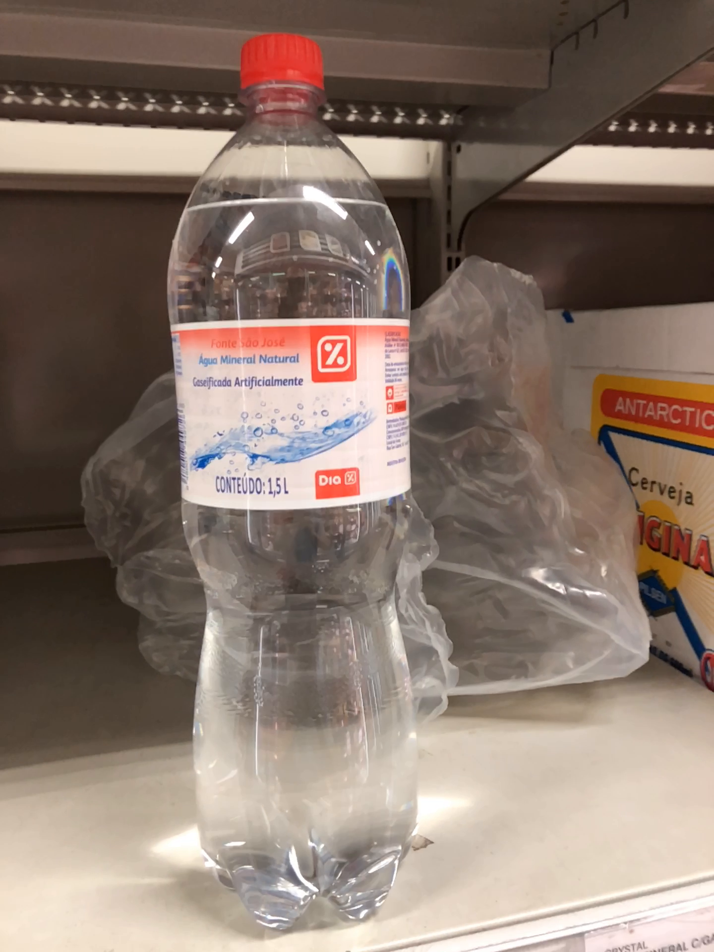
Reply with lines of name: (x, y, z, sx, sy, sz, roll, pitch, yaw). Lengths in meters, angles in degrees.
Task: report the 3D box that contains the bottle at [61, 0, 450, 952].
bottle: (-0.023, -0.005, 0.302, 0.100, 0.319, 0.100, -2, 11, 0)
